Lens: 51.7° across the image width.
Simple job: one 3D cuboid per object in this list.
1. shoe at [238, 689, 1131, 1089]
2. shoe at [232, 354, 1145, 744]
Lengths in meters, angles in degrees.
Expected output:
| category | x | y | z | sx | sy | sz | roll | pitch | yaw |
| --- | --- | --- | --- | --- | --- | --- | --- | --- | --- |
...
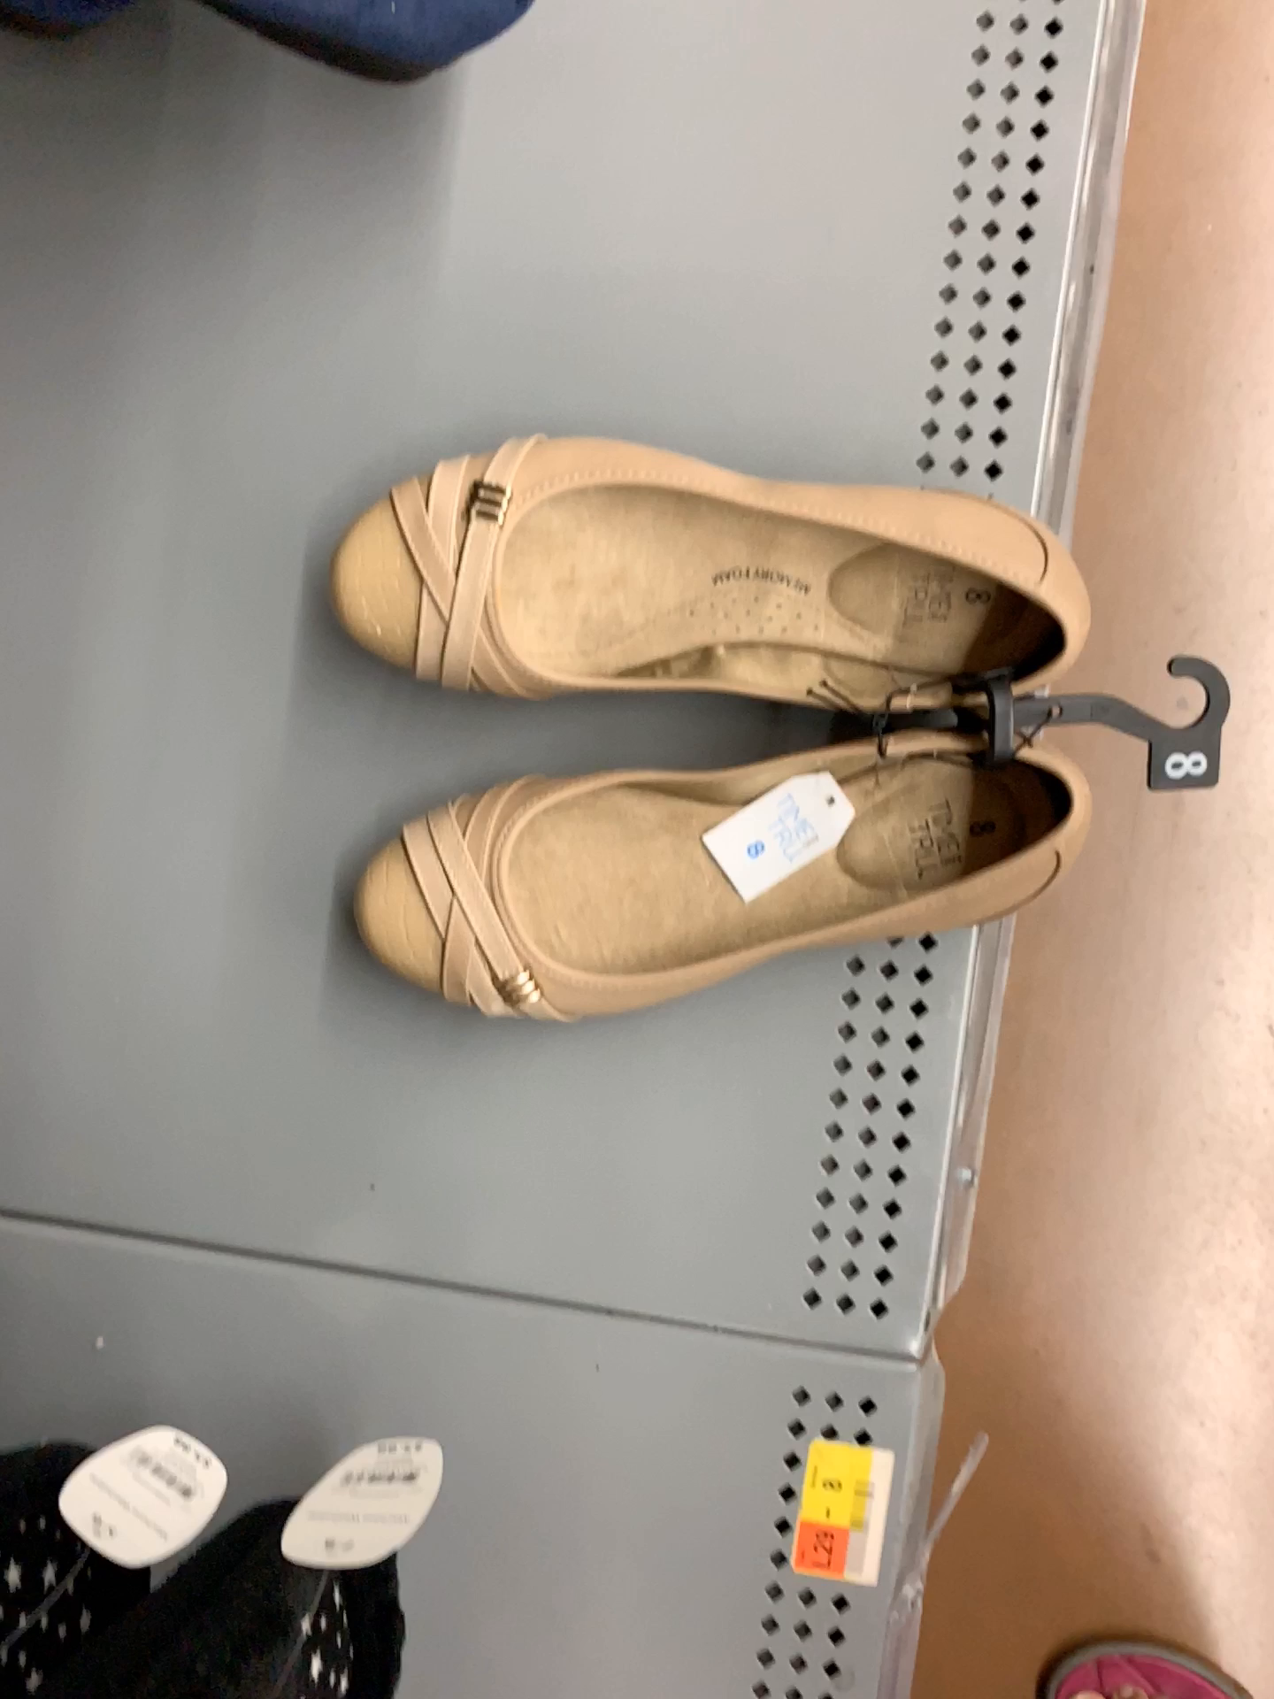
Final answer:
| category | x | y | z | sx | sy | sz | roll | pitch | yaw |
| --- | --- | --- | --- | --- | --- | --- | --- | --- | --- |
| shoe | 0.015 | 0.014 | 0.476 | 0.280 | 0.100 | 0.100 | -6 | 90 | 4 |
| shoe | 0.016 | -0.100 | 0.462 | 0.280 | 0.100 | 0.100 | 4 | 91 | 4 |
